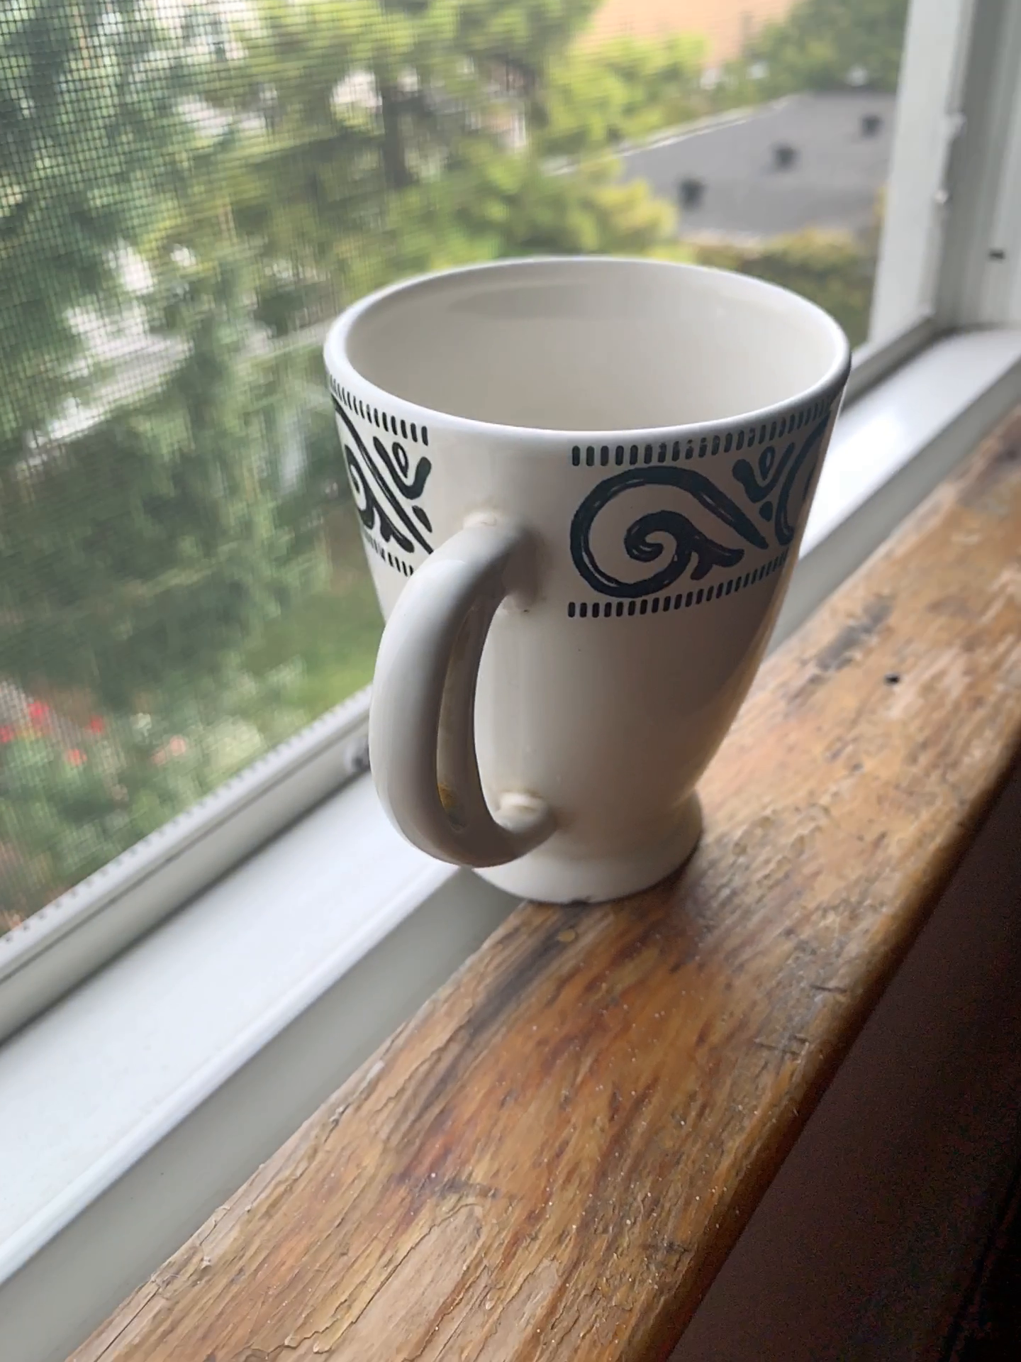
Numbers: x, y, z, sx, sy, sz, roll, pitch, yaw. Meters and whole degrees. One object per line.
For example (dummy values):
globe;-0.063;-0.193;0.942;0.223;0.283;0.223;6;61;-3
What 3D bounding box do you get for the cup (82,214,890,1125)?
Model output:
cup;0.011;-0.018;0.189;0.080;0.089;0.131;12;37;17
